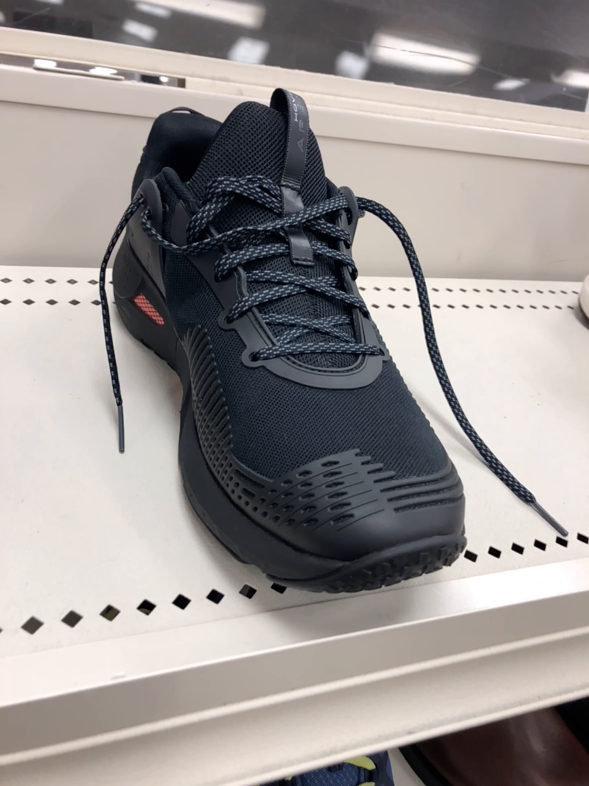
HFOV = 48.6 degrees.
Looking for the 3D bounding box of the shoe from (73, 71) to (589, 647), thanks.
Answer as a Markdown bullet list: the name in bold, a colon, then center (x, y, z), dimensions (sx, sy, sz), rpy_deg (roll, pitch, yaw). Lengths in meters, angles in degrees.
- **shoe**: center (-0.030, -0.068, 0.335), dimensions (0.120, 0.129, 0.352), rpy_deg (-3, 31, -24)
